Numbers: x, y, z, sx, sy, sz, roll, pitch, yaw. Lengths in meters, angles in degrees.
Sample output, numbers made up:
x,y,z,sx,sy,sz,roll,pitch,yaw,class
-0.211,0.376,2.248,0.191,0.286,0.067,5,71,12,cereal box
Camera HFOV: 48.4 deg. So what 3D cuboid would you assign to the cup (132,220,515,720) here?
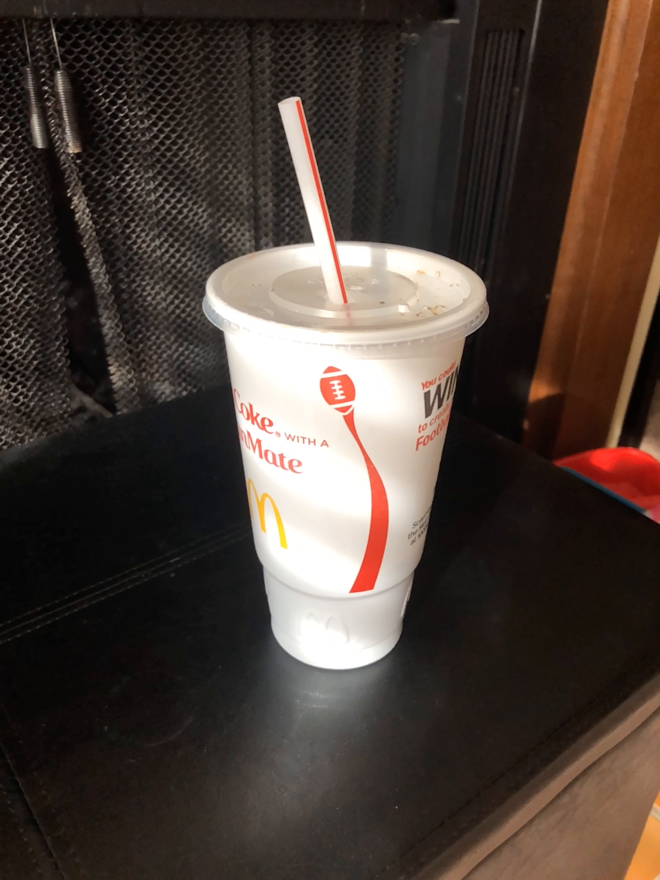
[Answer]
x,y,z,sx,sy,sz,roll,pitch,yaw,class
0.005,0.005,0.305,0.110,0.150,0.120,1,32,-1,cup
